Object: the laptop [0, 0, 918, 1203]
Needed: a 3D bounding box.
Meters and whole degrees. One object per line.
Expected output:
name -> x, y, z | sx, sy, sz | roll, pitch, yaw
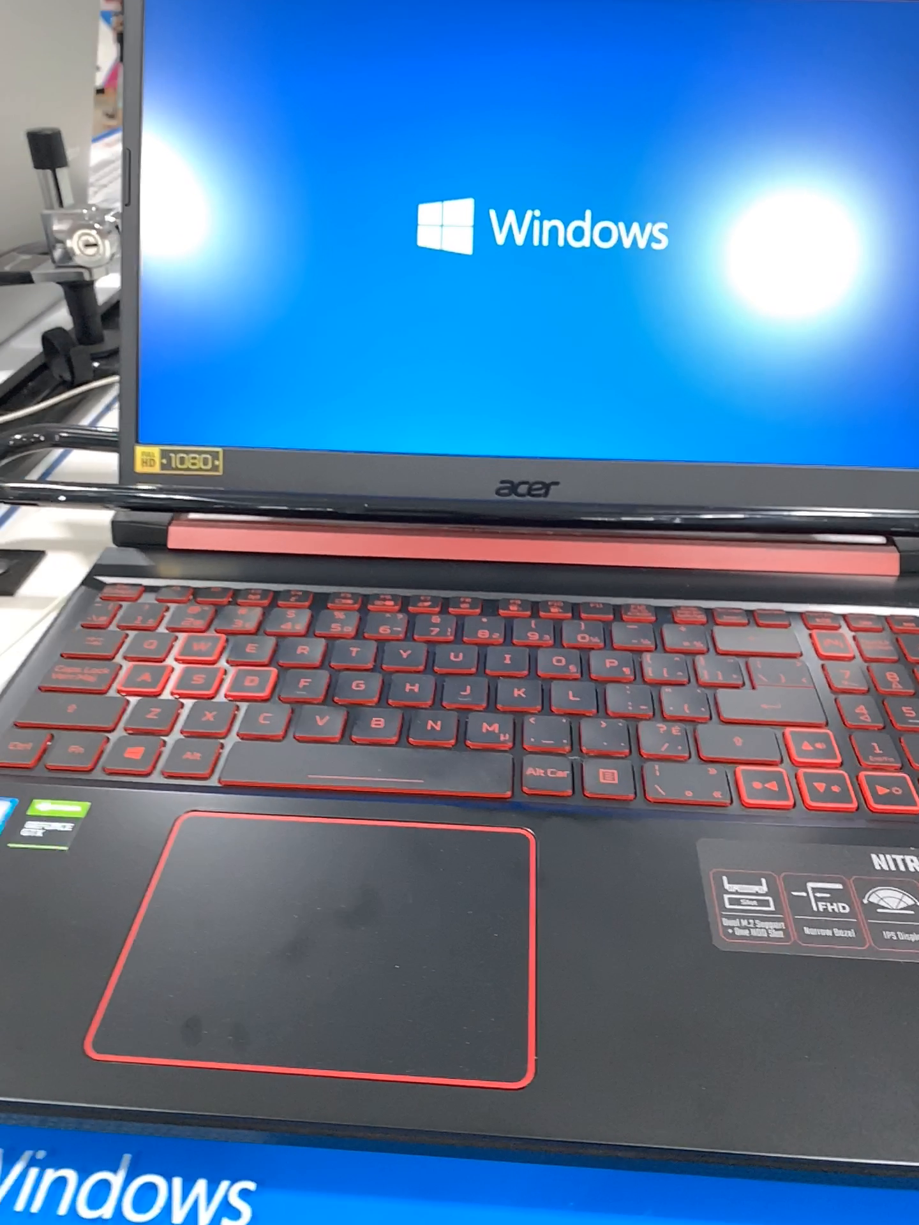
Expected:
laptop -> 0.019, -0.087, 0.309 | 0.358, 0.198, 0.381 | 3, 36, 4
